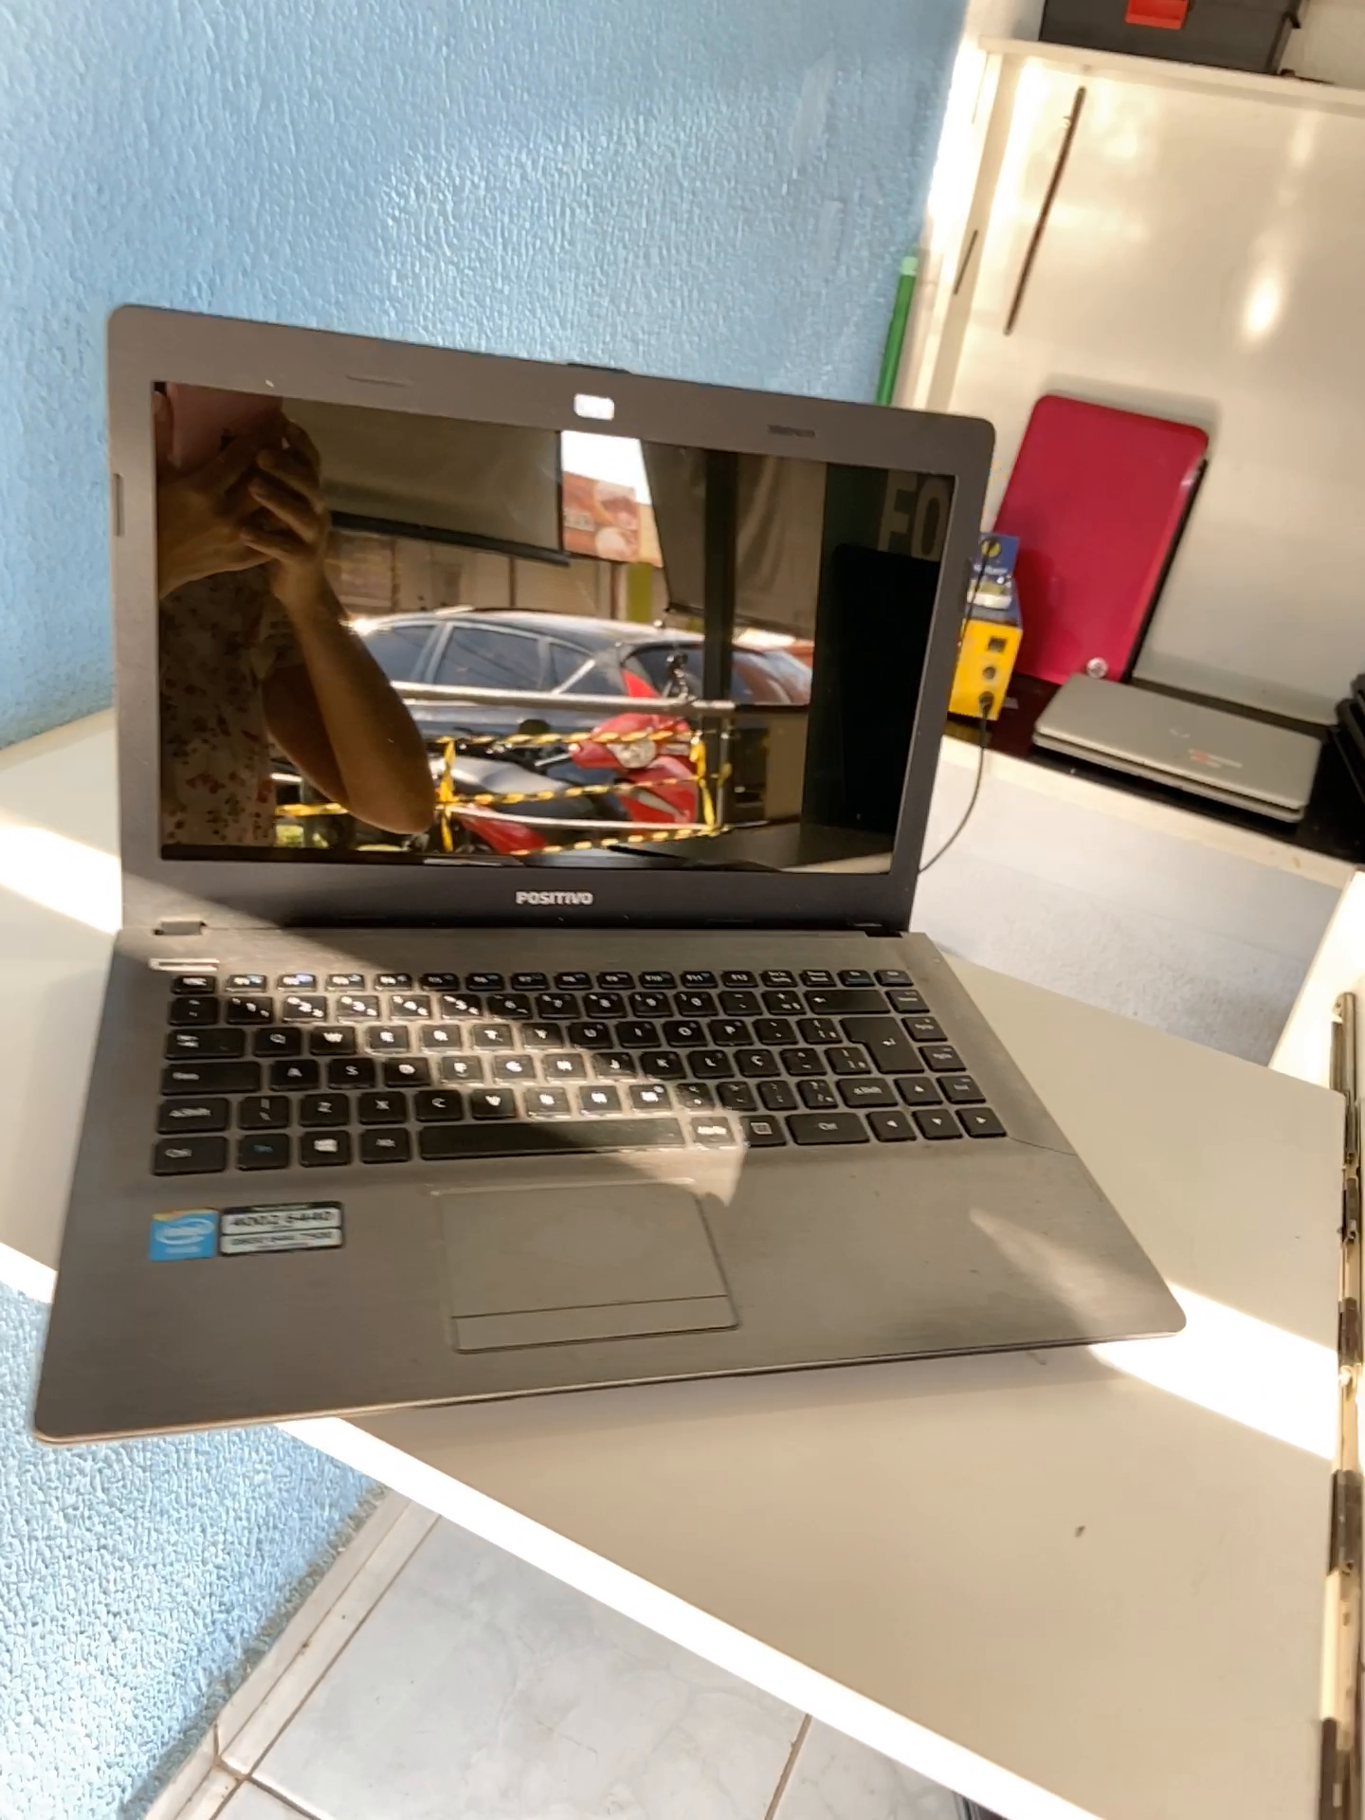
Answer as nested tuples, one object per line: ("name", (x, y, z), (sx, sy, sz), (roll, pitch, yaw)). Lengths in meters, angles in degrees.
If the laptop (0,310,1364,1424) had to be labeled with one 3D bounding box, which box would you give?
("laptop", (-0.017, -0.037, 0.463), (0.335, 0.211, 0.284), (1, 30, -16))
